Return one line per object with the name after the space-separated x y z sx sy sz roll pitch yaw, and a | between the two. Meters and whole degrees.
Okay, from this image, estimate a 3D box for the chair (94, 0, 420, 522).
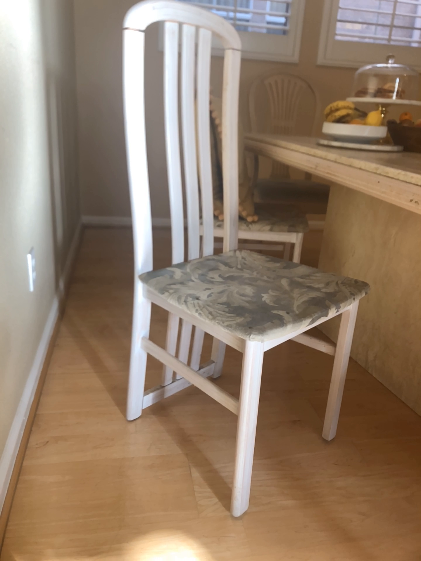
0.100 -0.151 1.544 0.633 1.451 0.670 -14 24 -41 | chair
